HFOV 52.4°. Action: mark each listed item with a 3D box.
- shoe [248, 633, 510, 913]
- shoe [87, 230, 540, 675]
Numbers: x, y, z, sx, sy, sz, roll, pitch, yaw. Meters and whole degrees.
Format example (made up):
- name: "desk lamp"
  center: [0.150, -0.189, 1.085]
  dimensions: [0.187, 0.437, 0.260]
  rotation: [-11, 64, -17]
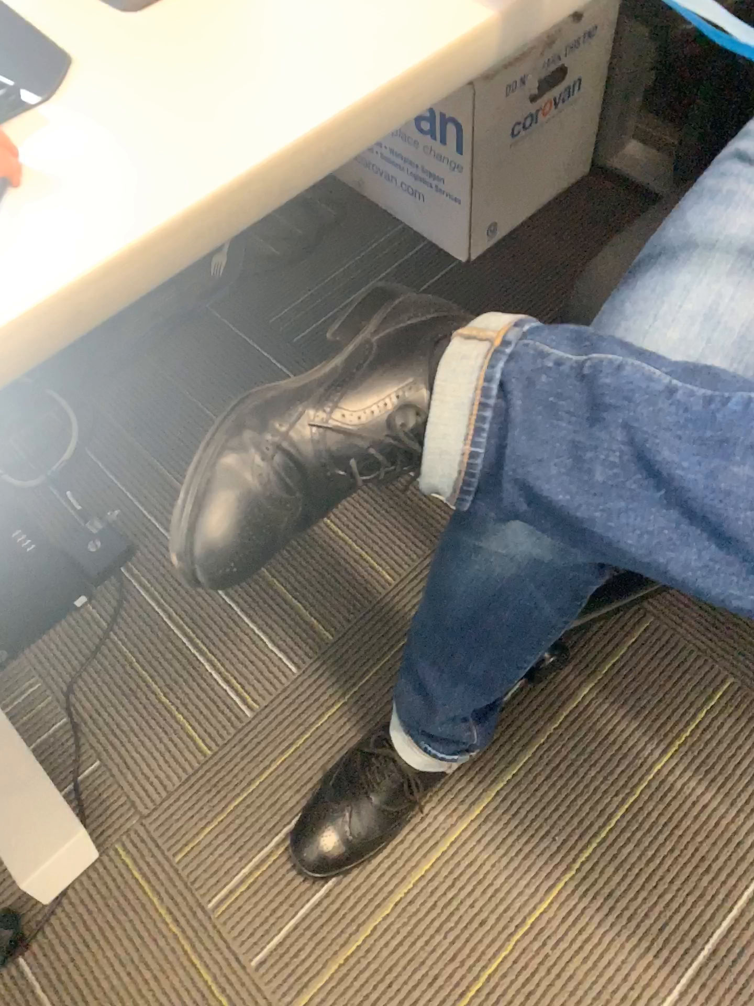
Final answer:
- name: "shoe"
  center: [0.010, 0.291, 0.839]
  dimensions: [0.274, 0.104, 0.112]
  rotation: [-42, 64, -18]
- name: "shoe"
  center: [-0.023, -0.037, 0.487]
  dimensions: [0.274, 0.111, 0.091]
  rotation: [-42, 61, -18]
